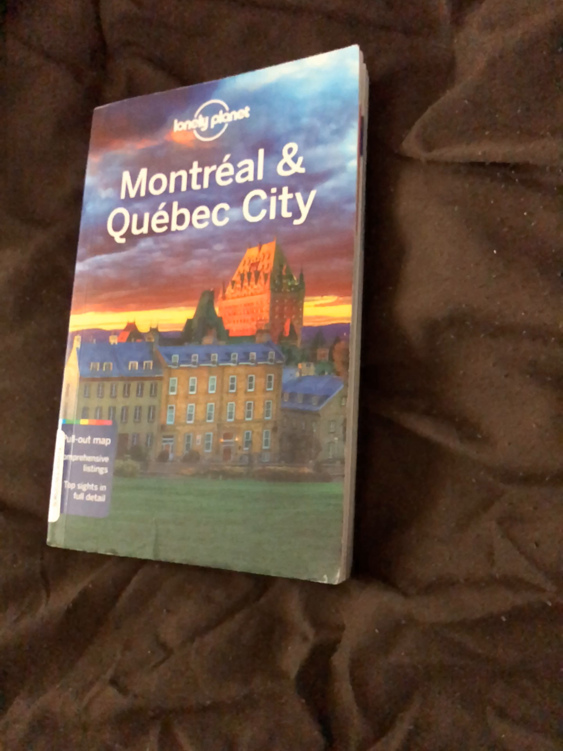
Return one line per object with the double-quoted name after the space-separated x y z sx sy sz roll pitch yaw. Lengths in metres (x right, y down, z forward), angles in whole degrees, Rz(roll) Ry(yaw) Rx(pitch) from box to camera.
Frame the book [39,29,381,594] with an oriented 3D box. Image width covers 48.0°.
-0.032 -0.027 0.266 0.137 0.024 0.205 -1 81 27 "book"
